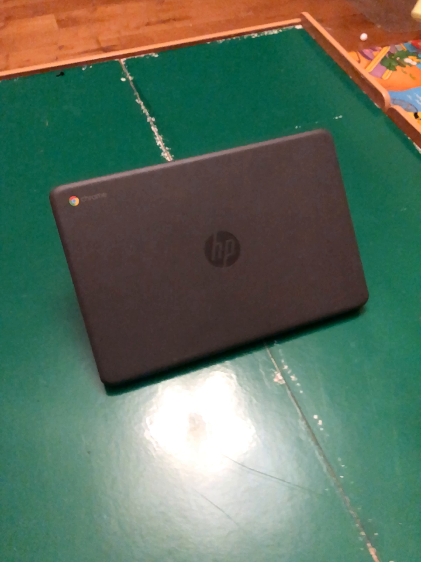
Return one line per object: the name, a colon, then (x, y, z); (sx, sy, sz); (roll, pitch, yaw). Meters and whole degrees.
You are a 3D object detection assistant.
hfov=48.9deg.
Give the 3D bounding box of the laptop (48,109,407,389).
laptop: (0.006, -0.046, 0.533); (0.316, 0.144, 0.209); (-15, 56, -12)
